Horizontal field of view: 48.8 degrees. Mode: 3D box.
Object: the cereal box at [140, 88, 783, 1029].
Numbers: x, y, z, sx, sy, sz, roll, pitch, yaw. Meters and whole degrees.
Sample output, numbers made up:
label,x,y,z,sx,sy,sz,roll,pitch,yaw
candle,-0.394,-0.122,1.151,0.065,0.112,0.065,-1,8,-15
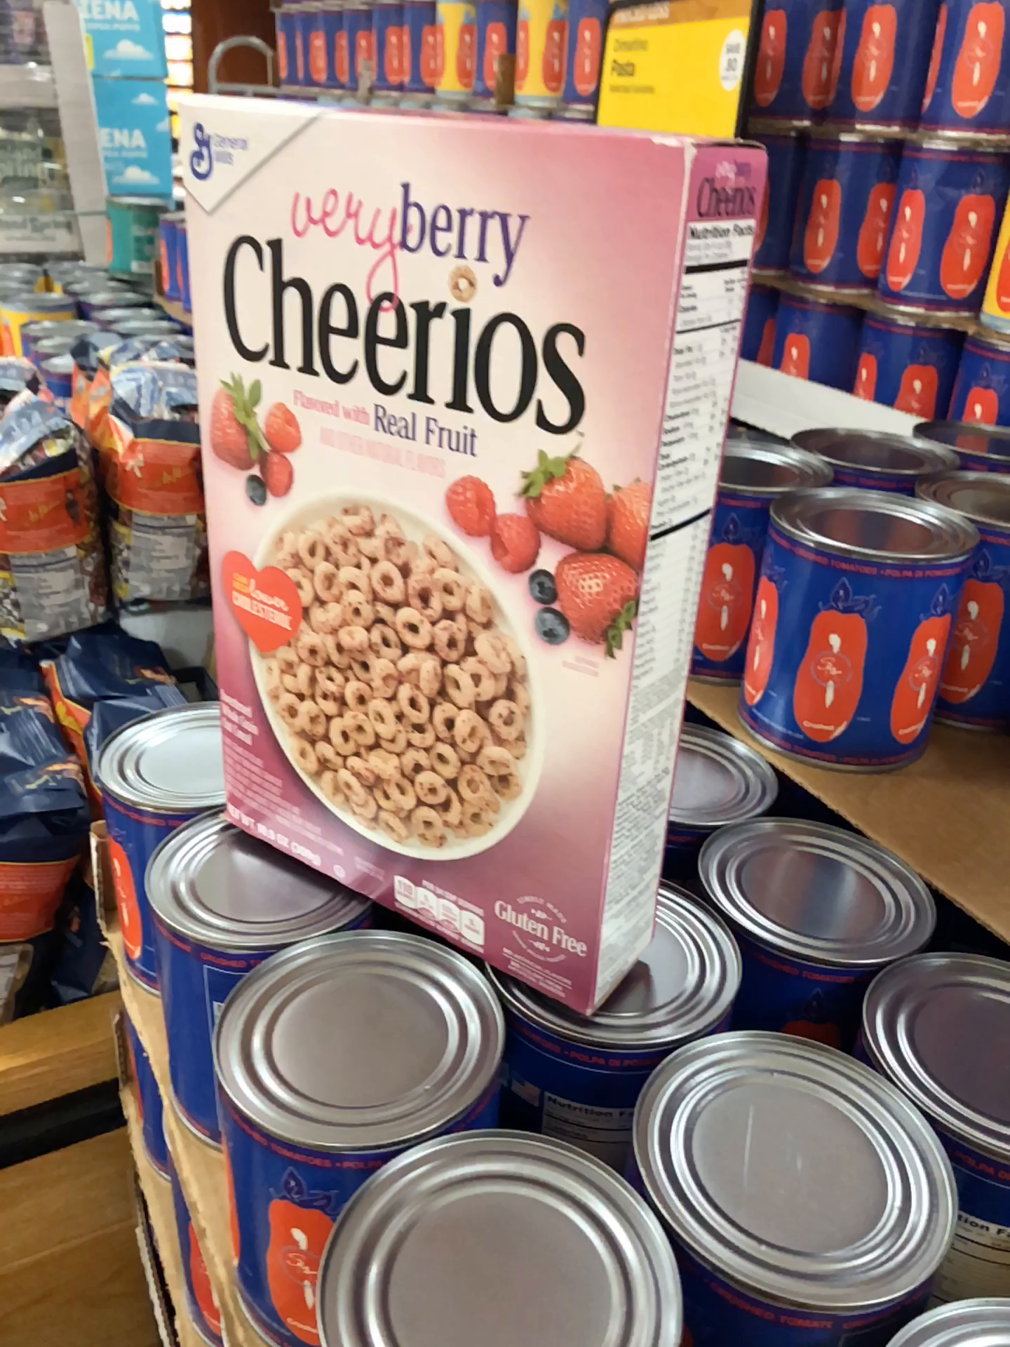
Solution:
label,x,y,z,sx,sy,sz,roll,pitch,yaw
cereal box,-0.028,-0.044,0.402,0.200,0.288,0.060,20,31,30
